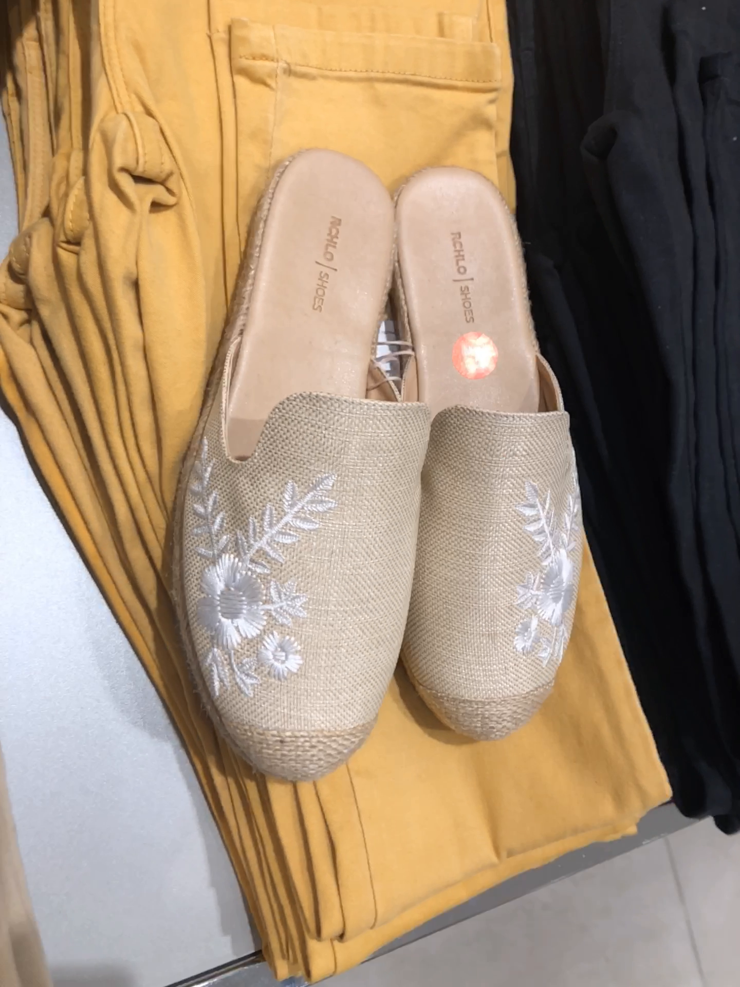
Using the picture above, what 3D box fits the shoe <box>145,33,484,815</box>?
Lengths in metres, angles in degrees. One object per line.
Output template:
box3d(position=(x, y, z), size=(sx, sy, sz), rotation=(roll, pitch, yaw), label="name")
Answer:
box3d(position=(-0.018, -0.021, 0.289), size=(0.090, 0.070, 0.240), rotation=(7, 77, -20), label="shoe")

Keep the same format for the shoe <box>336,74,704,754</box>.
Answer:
box3d(position=(0.053, -0.031, 0.330), size=(0.090, 0.070, 0.240), rotation=(-3, 81, -22), label="shoe")
